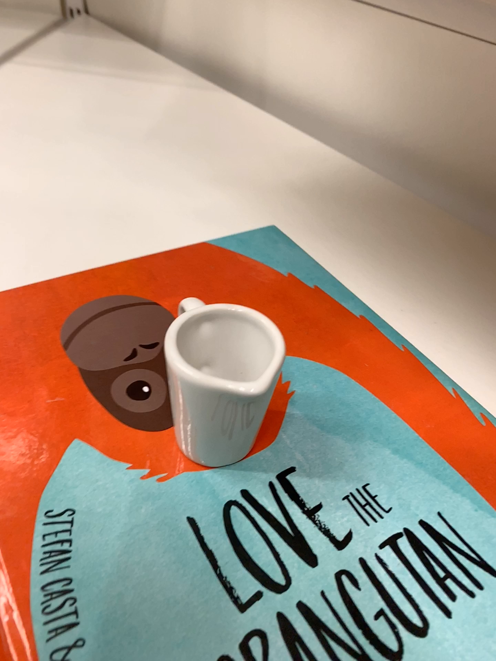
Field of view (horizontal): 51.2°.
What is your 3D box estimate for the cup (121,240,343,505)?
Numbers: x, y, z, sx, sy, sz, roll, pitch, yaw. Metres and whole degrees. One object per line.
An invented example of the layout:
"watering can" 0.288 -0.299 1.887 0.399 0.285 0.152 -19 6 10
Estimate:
"cup" -0.011 0.011 0.184 0.050 0.050 0.070 -11 45 -20
